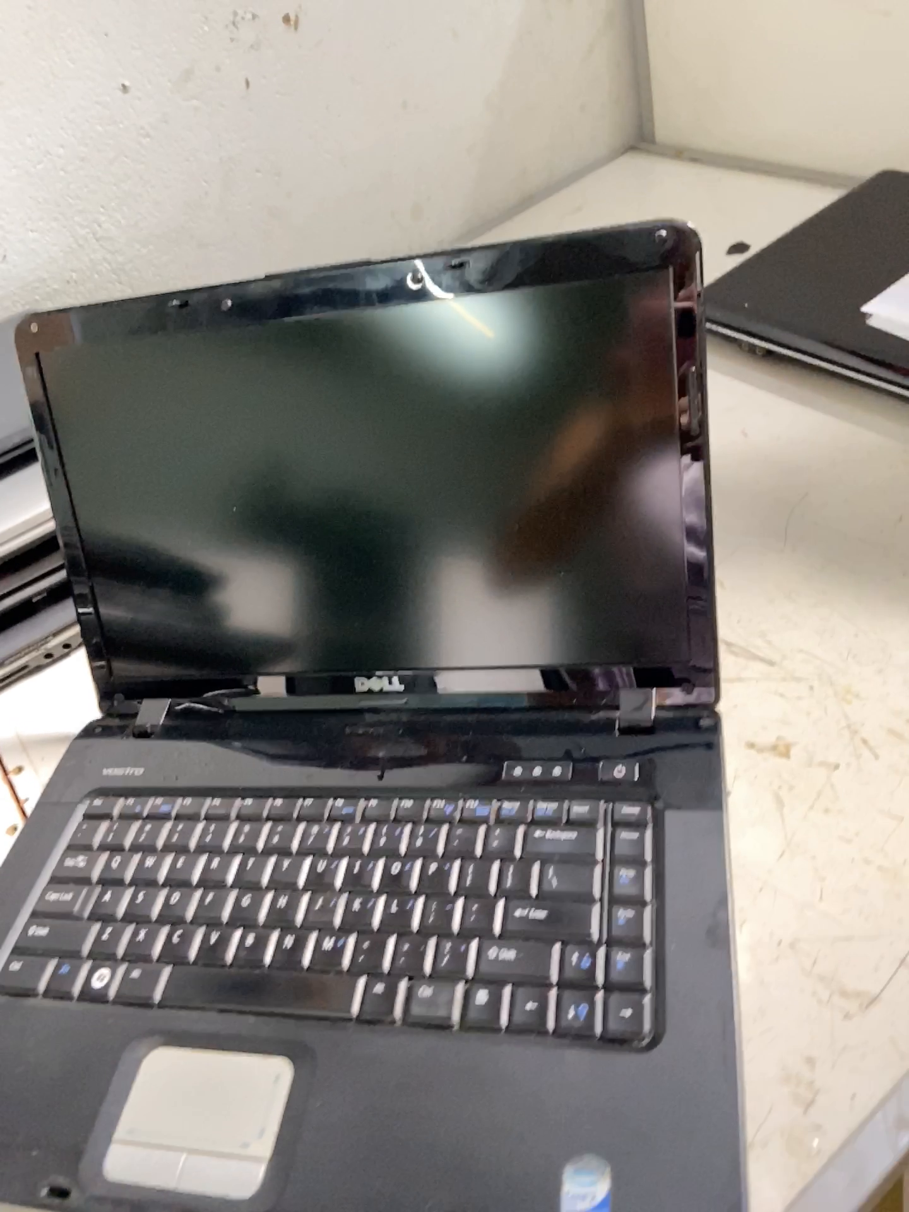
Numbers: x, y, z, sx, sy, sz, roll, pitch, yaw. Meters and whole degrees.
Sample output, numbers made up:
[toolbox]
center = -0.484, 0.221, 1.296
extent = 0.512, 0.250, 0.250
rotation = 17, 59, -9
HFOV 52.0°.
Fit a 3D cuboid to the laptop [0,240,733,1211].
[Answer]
[laptop]
center = -0.078, 0.038, 0.410
extent = 0.364, 0.203, 0.354
rotation = -3, 42, 16
